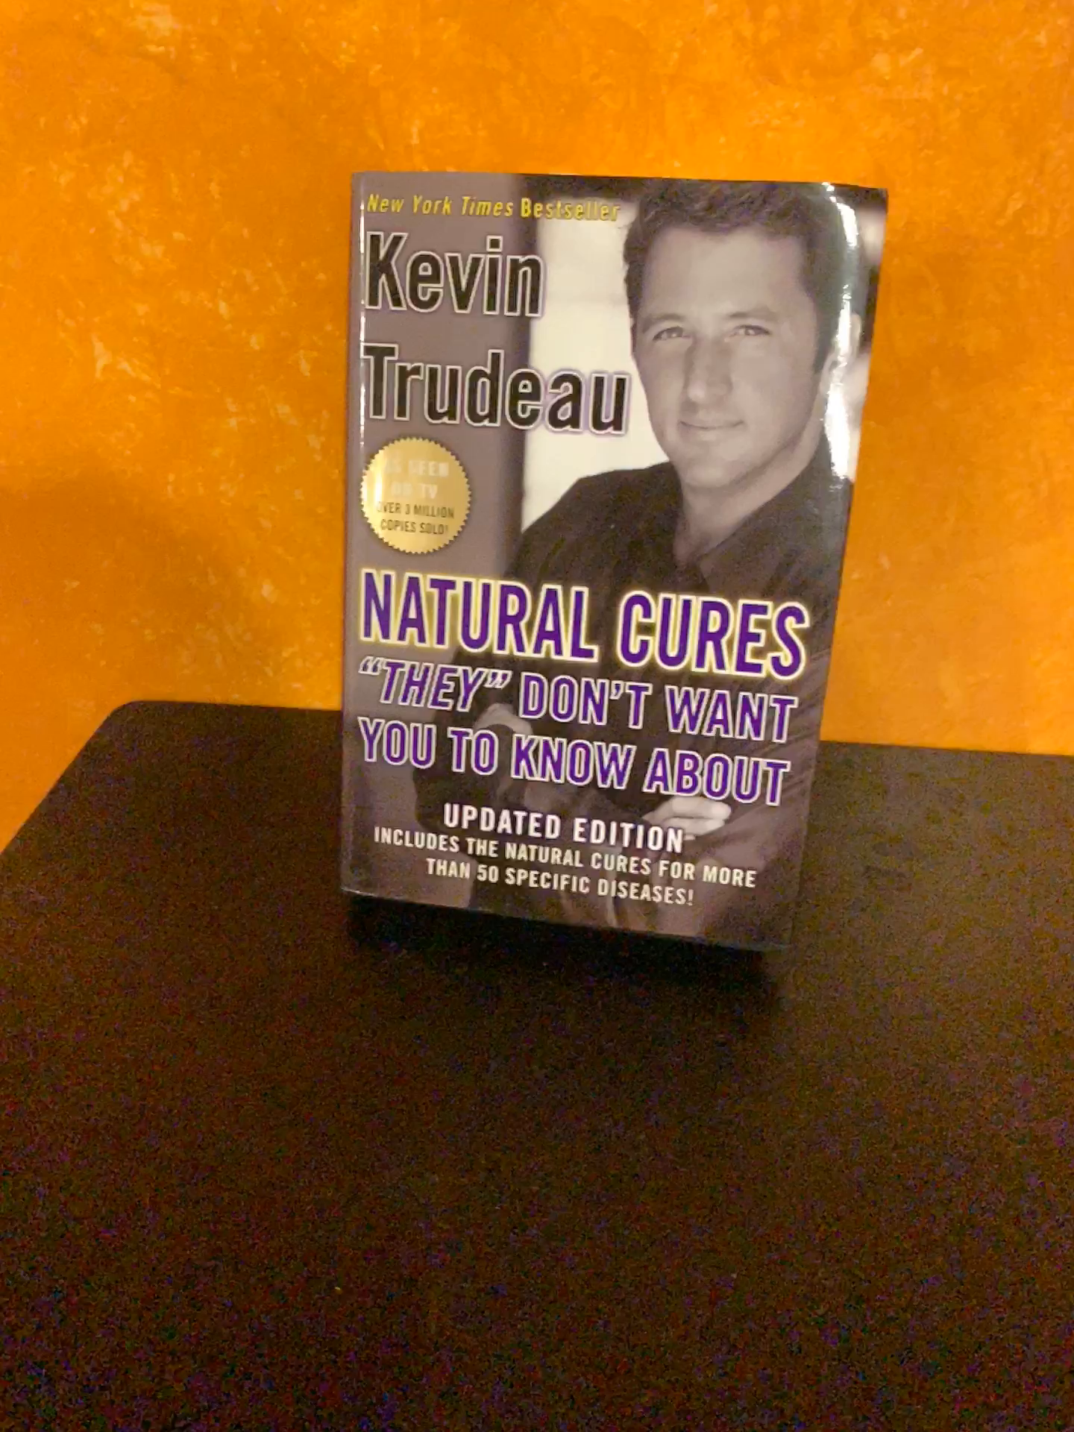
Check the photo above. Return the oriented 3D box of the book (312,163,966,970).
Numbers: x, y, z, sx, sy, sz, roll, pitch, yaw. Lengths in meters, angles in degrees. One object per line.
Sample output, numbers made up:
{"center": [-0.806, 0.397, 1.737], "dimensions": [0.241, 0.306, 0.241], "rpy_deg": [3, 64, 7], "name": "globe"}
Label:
{"center": [0.024, -0.047, 0.359], "dimensions": [0.180, 0.229, 0.050], "rpy_deg": [6, 13, 9], "name": "book"}
